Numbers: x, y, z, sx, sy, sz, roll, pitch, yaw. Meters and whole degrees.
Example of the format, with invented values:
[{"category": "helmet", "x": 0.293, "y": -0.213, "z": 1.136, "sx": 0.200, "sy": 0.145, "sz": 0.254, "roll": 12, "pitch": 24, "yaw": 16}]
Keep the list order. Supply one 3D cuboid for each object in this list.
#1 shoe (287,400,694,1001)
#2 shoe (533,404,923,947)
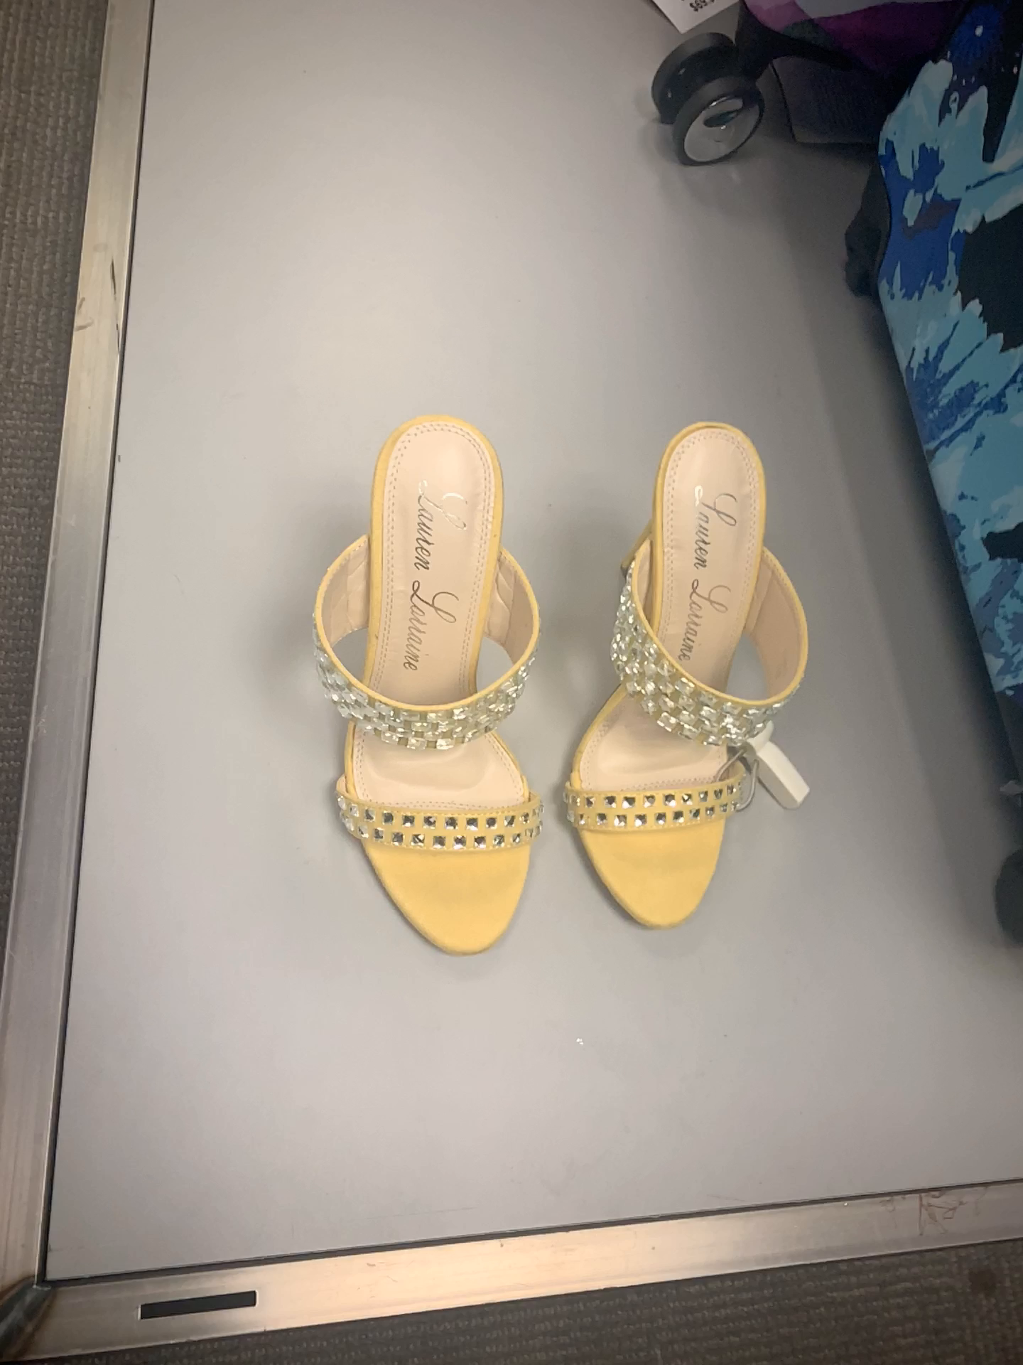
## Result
[{"category": "shoe", "x": -0.020, "y": 0.011, "z": 0.413, "sx": 0.116, "sy": 0.115, "sz": 0.202, "roll": -3, "pitch": 76, "yaw": -16}, {"category": "shoe", "x": 0.079, "y": 0.008, "z": 0.441, "sx": 0.110, "sy": 0.116, "sz": 0.199, "roll": 4, "pitch": 75, "yaw": -14}]
